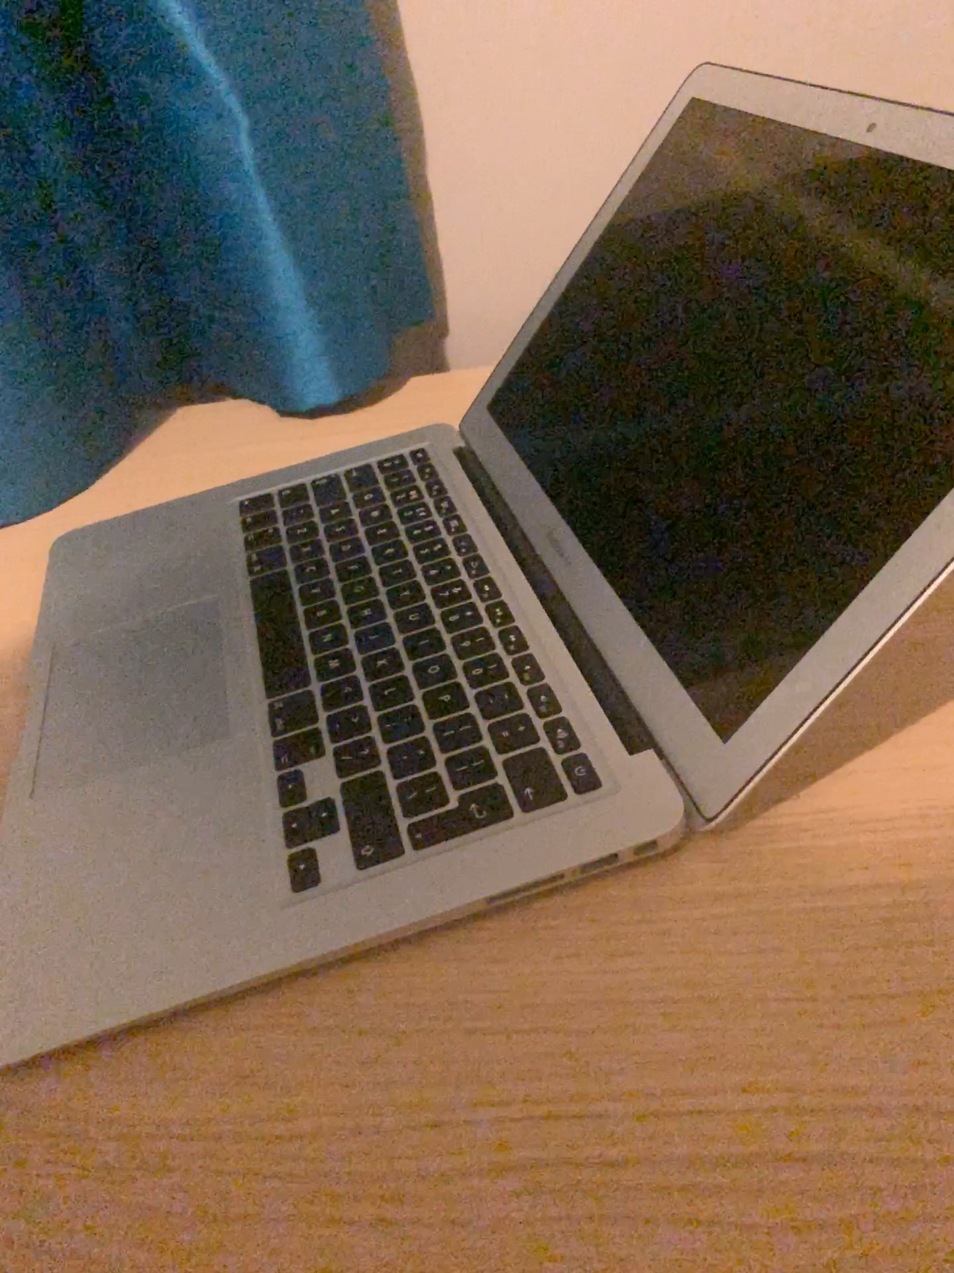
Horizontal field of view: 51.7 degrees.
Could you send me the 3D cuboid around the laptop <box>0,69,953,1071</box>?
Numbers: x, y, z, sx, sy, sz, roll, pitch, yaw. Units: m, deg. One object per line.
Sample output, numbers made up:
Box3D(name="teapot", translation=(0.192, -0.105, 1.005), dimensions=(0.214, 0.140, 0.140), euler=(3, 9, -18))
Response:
Box3D(name="laptop", translation=(-0.018, -0.077, 0.371), dimensions=(0.368, 0.144, 0.304), euler=(-17, 37, -7))
